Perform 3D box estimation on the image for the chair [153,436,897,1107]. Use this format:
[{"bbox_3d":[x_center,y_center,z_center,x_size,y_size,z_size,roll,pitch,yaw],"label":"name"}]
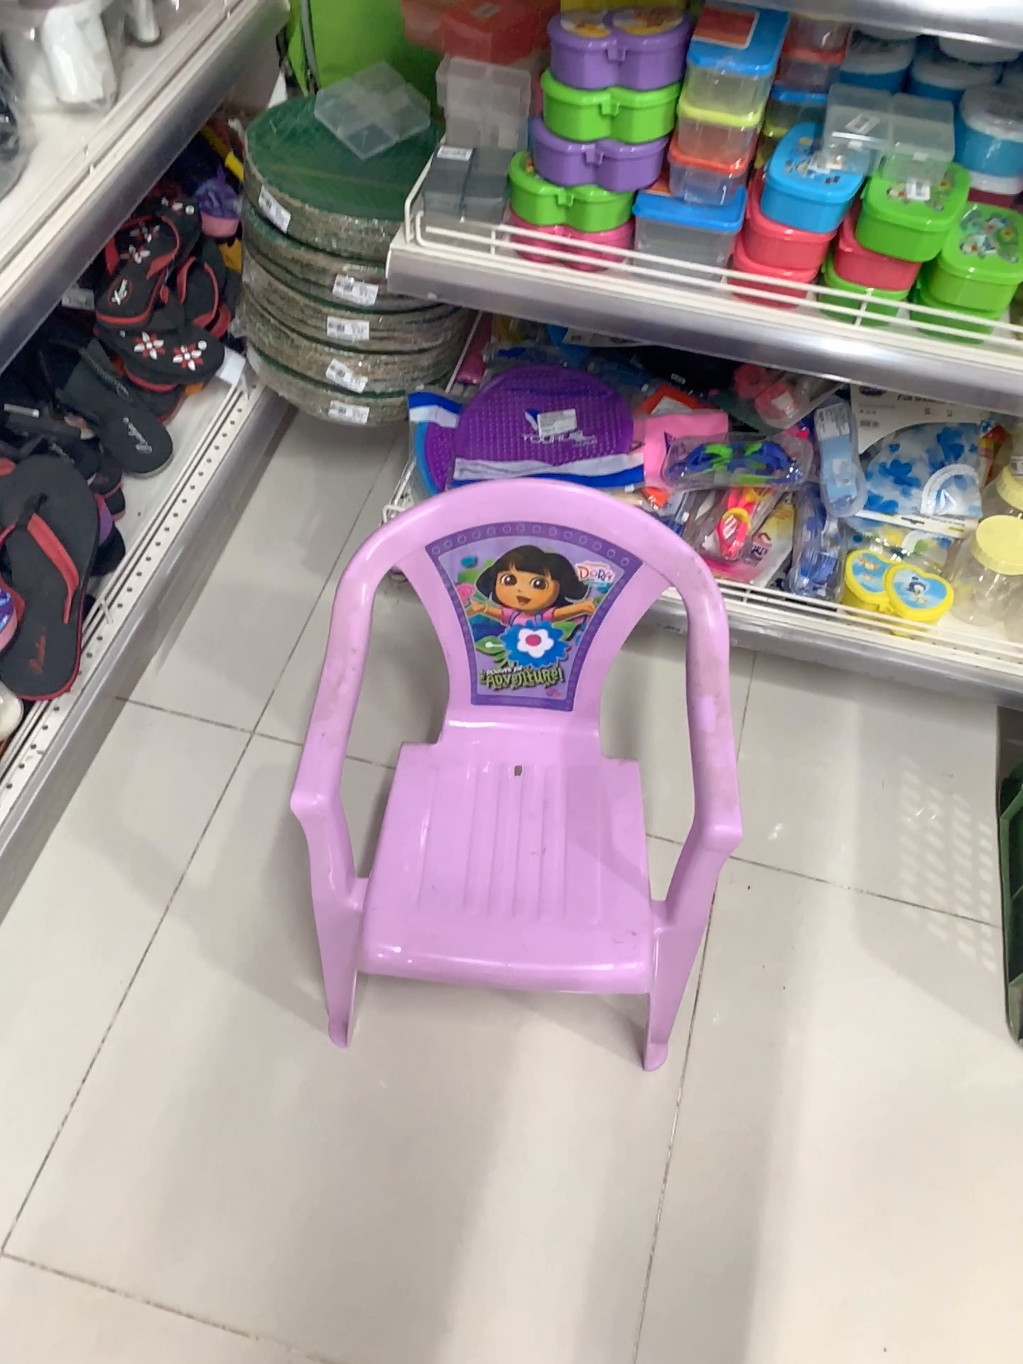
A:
[{"bbox_3d":[0.012,0.097,0.832,0.400,0.429,0.341,4,56,1],"label":"chair"}]
